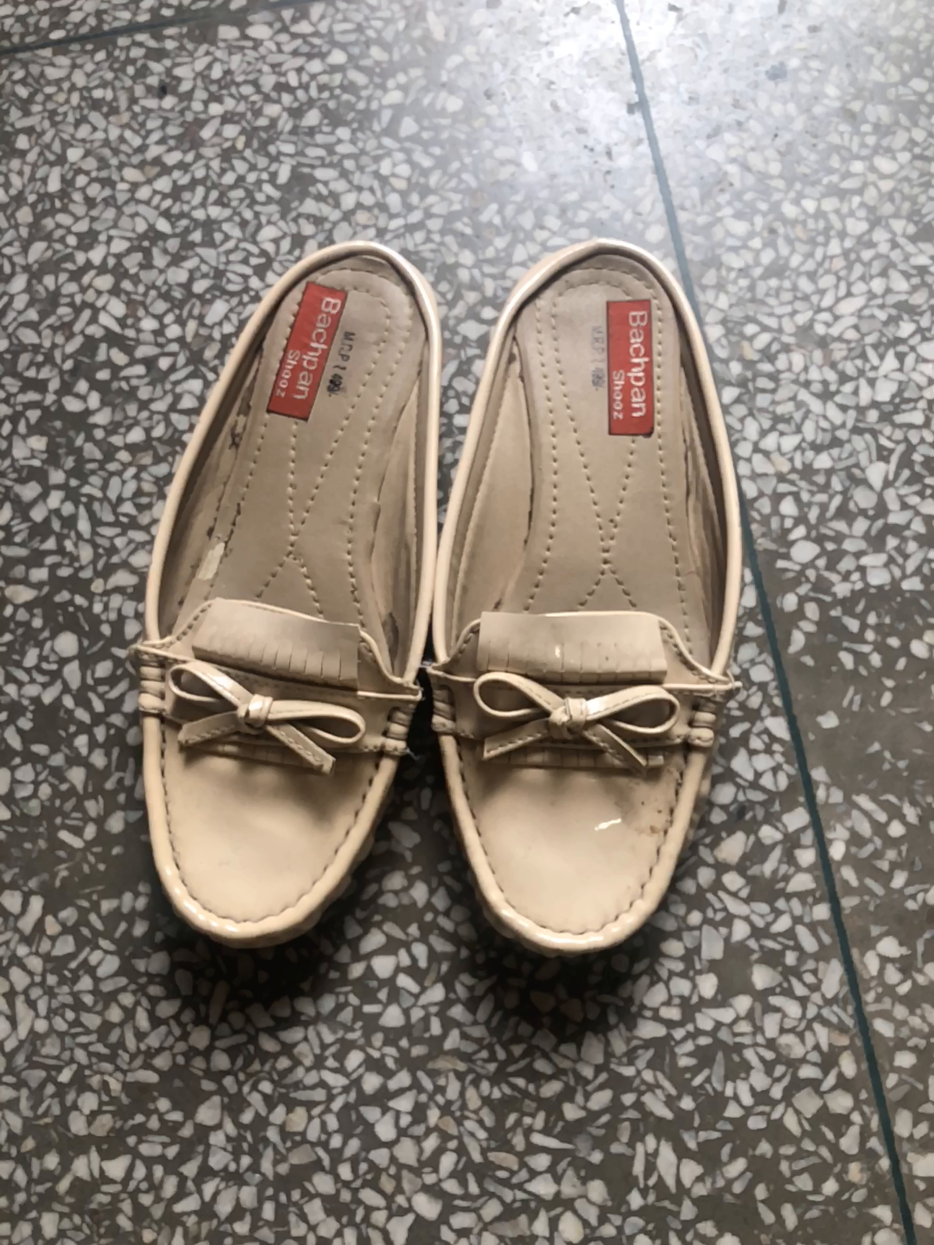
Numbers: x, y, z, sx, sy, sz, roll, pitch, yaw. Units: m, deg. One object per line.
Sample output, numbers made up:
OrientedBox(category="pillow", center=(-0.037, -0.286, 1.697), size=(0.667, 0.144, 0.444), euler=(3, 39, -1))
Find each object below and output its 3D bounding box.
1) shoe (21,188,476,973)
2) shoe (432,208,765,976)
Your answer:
OrientedBox(category="shoe", center=(-0.058, -0.017, 0.317), size=(0.090, 0.040, 0.220), euler=(8, 79, 4))
OrientedBox(category="shoe", center=(0.040, -0.013, 0.305), size=(0.080, 0.040, 0.210), euler=(4, 79, 3))
